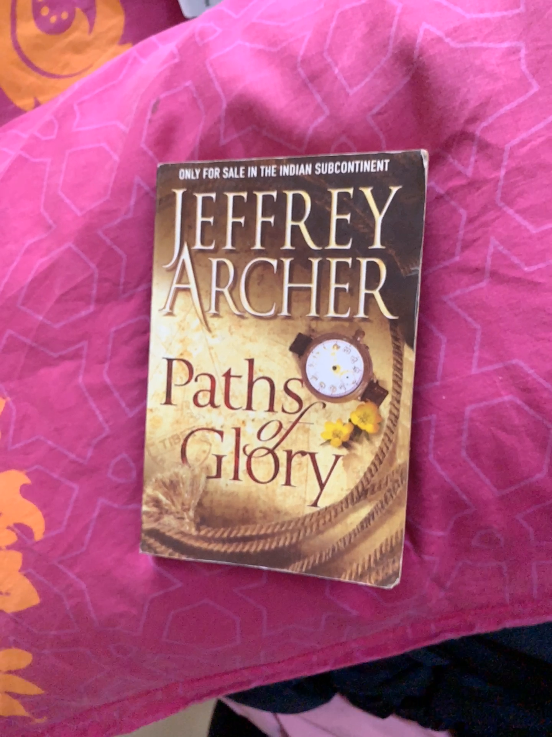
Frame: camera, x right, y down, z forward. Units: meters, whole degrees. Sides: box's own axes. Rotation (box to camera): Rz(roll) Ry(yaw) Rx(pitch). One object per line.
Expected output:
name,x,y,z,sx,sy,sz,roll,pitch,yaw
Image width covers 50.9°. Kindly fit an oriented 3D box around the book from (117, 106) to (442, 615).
book,0.000,-0.006,0.243,0.120,0.040,0.180,4,93,18
